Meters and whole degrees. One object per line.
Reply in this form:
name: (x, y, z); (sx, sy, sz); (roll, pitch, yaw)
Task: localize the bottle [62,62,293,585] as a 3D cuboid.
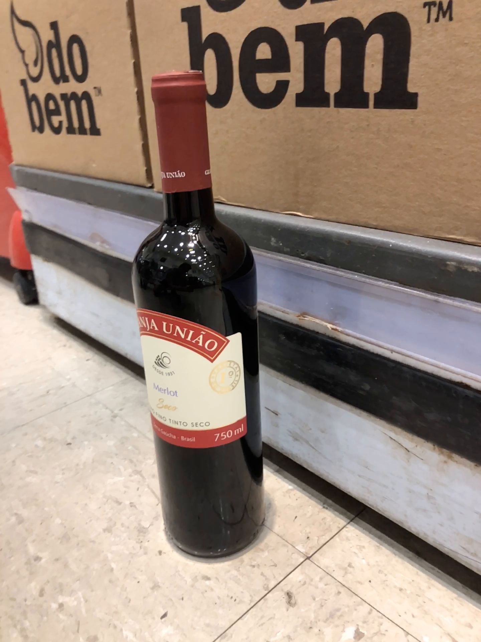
bottle: (-0.025, 0.008, 0.331); (0.080, 0.298, 0.080); (-3, 23, 1)
